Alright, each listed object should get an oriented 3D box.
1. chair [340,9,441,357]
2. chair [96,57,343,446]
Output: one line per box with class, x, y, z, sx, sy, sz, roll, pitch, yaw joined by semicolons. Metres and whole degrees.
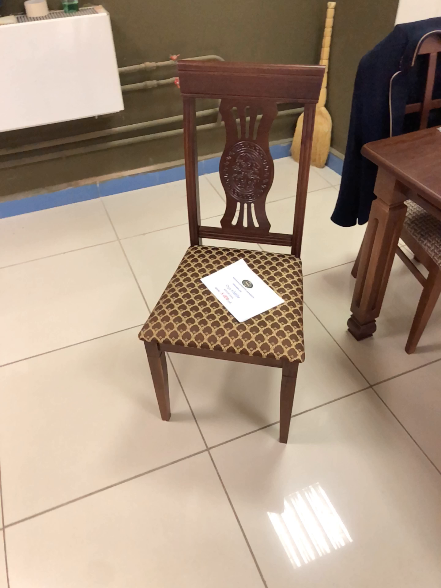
chair;0.780;-0.339;1.622;0.430;0.955;0.492;-14;43;-13
chair;0.044;-0.079;1.348;0.435;0.935;0.472;7;42;11
